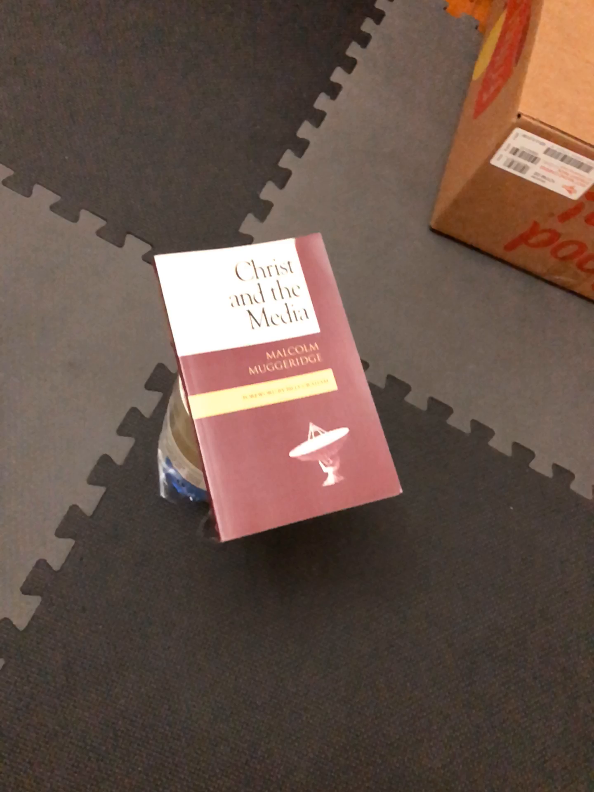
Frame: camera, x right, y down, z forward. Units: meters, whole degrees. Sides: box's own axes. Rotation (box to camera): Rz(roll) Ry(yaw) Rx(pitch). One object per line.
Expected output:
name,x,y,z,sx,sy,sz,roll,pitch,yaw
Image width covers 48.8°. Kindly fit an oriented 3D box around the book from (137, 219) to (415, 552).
book,-0.017,-0.017,0.448,0.140,0.020,0.210,-11,76,-18
